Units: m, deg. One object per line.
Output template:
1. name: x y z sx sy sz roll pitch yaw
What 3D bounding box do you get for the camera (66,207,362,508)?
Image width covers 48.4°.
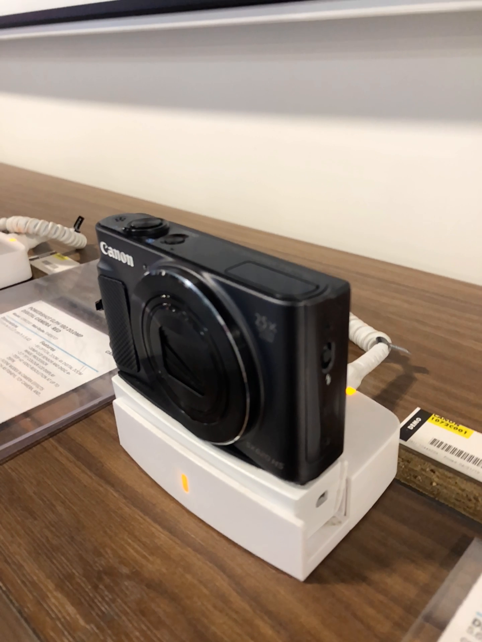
1. camera: -0.014 0.004 0.173 0.030 0.060 0.100 -23 33 -38
